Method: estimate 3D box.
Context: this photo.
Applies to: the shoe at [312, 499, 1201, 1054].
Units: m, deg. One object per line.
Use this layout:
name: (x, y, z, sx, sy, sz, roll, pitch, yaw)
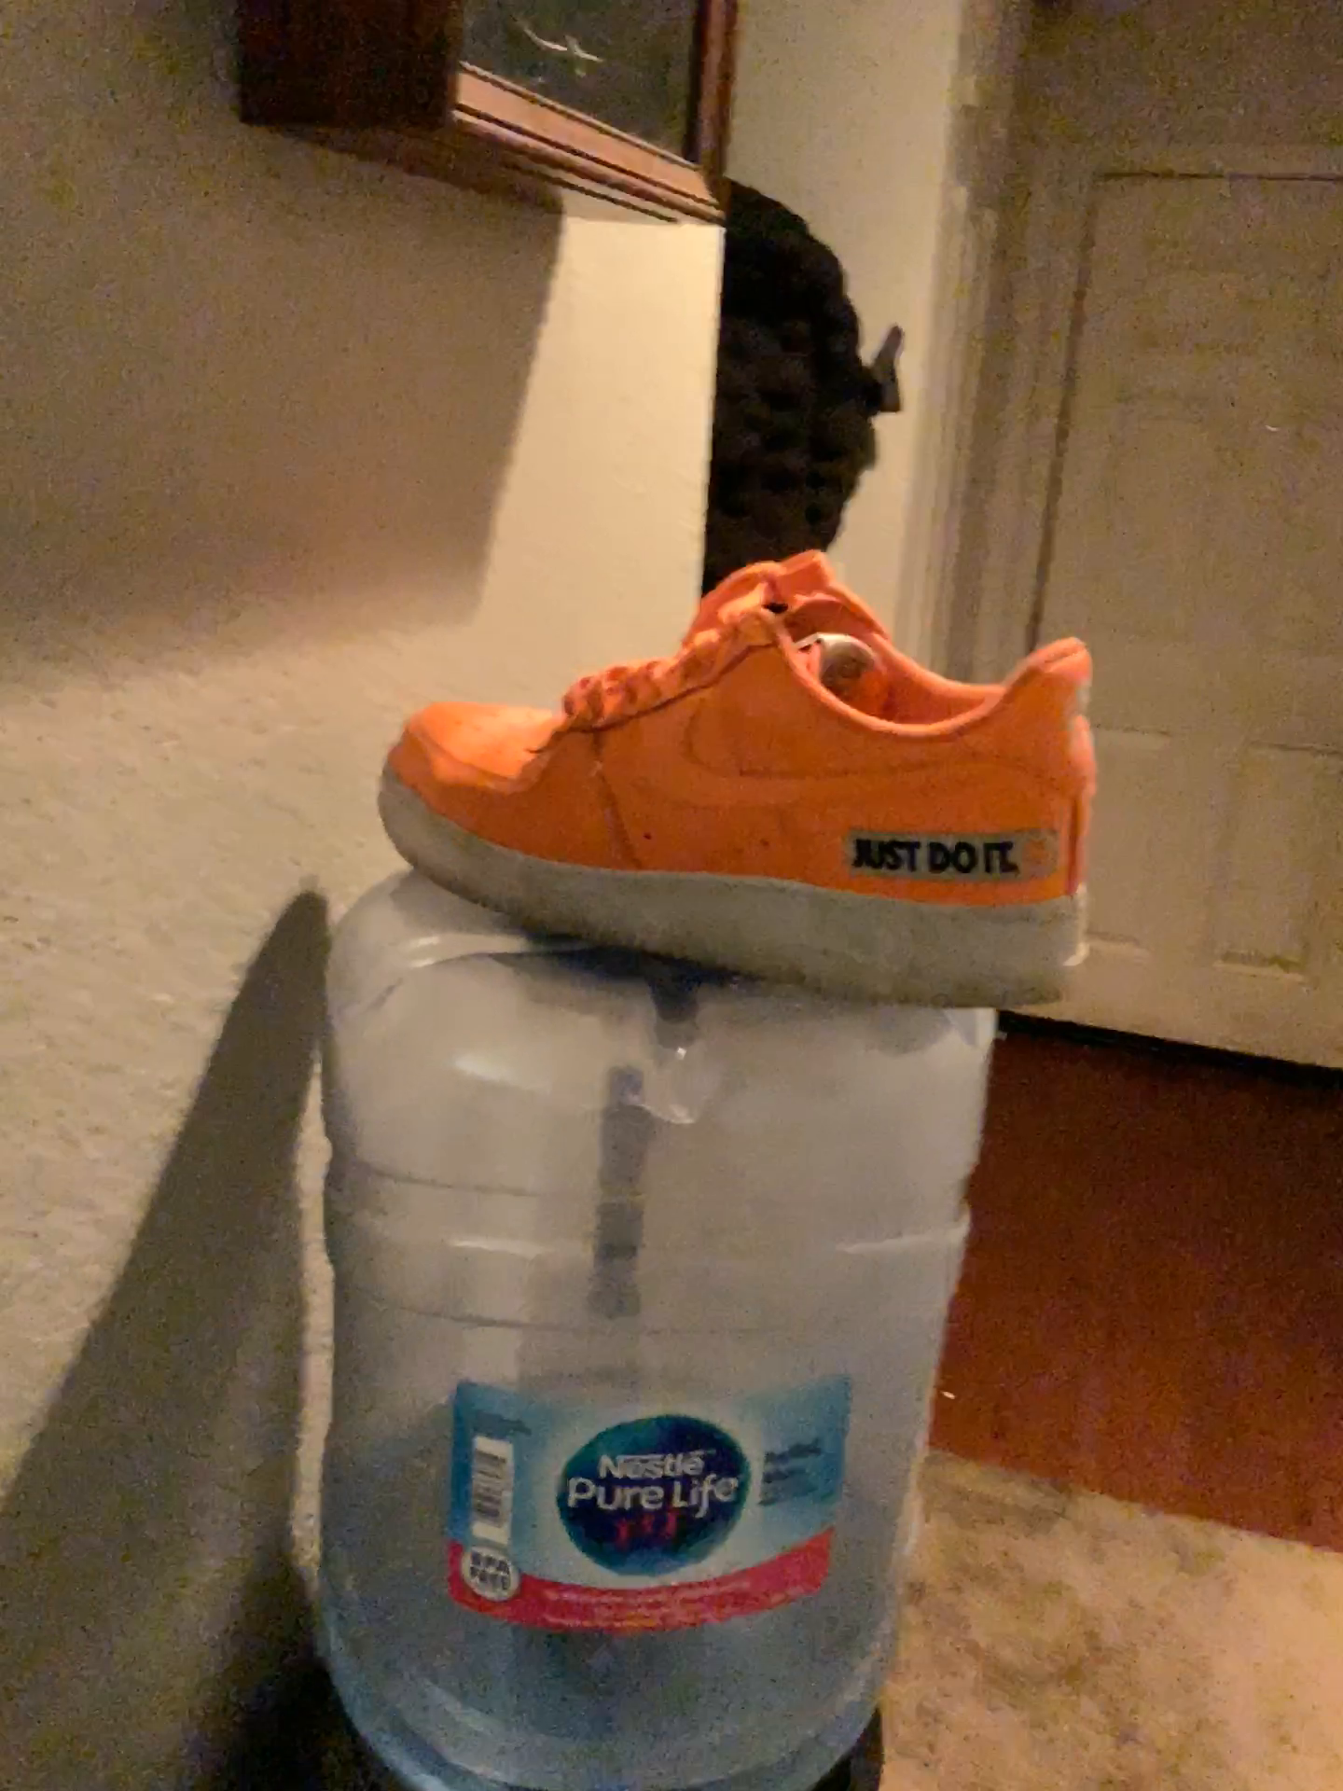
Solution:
shoe: (0.022, -0.062, 0.563, 0.300, 0.140, 0.120, 13, 21, 26)
